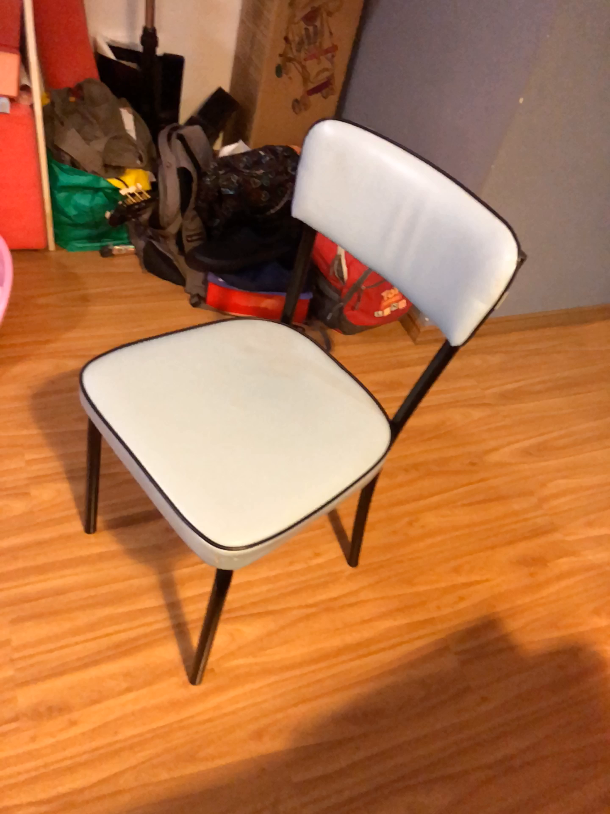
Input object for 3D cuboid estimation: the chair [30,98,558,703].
[{"bbox_3d":[-0.074,0.009,1.119,0.502,0.794,0.451,-26,58,-33],"label":"chair"}]
